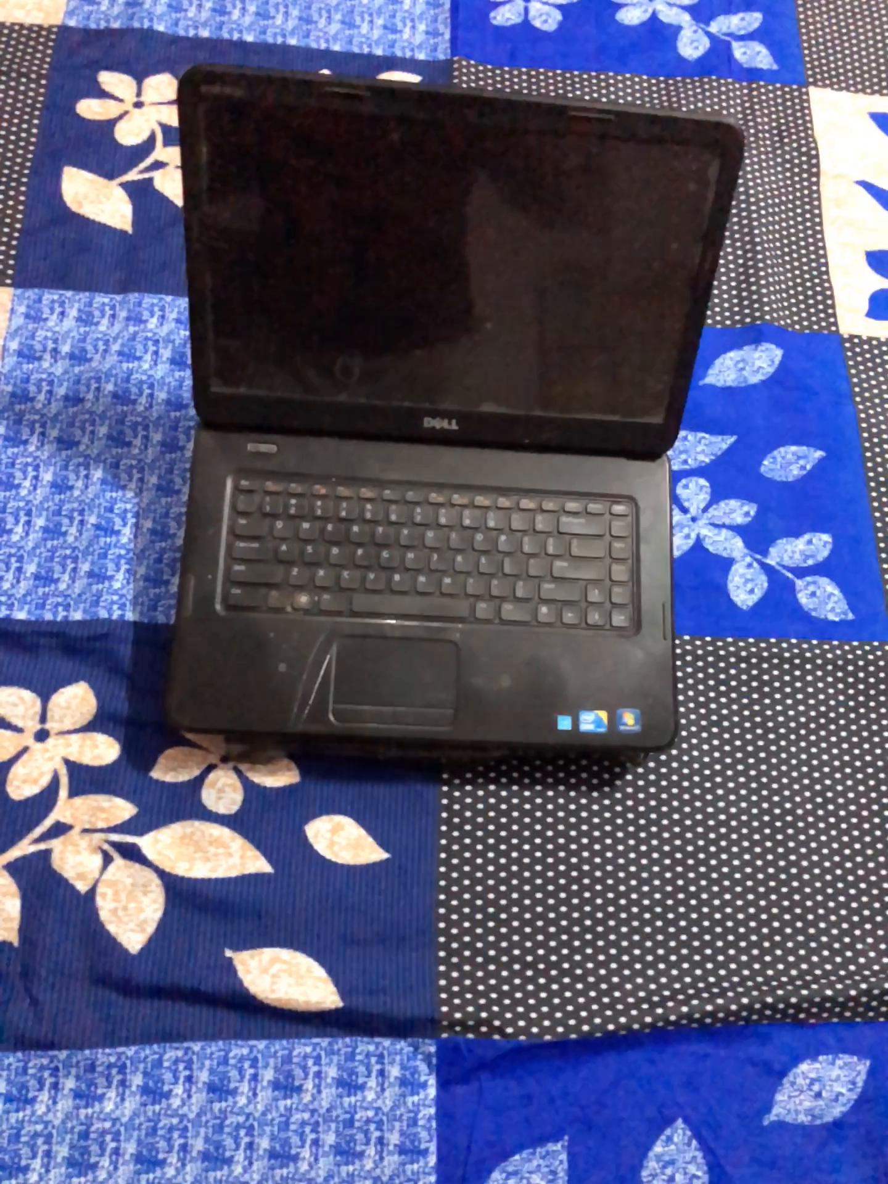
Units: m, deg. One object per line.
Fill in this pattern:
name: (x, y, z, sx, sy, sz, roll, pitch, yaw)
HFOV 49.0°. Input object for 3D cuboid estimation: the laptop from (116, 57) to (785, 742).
laptop: (0.007, -0.114, 0.668, 0.363, 0.187, 0.389, 3, 73, -6)
